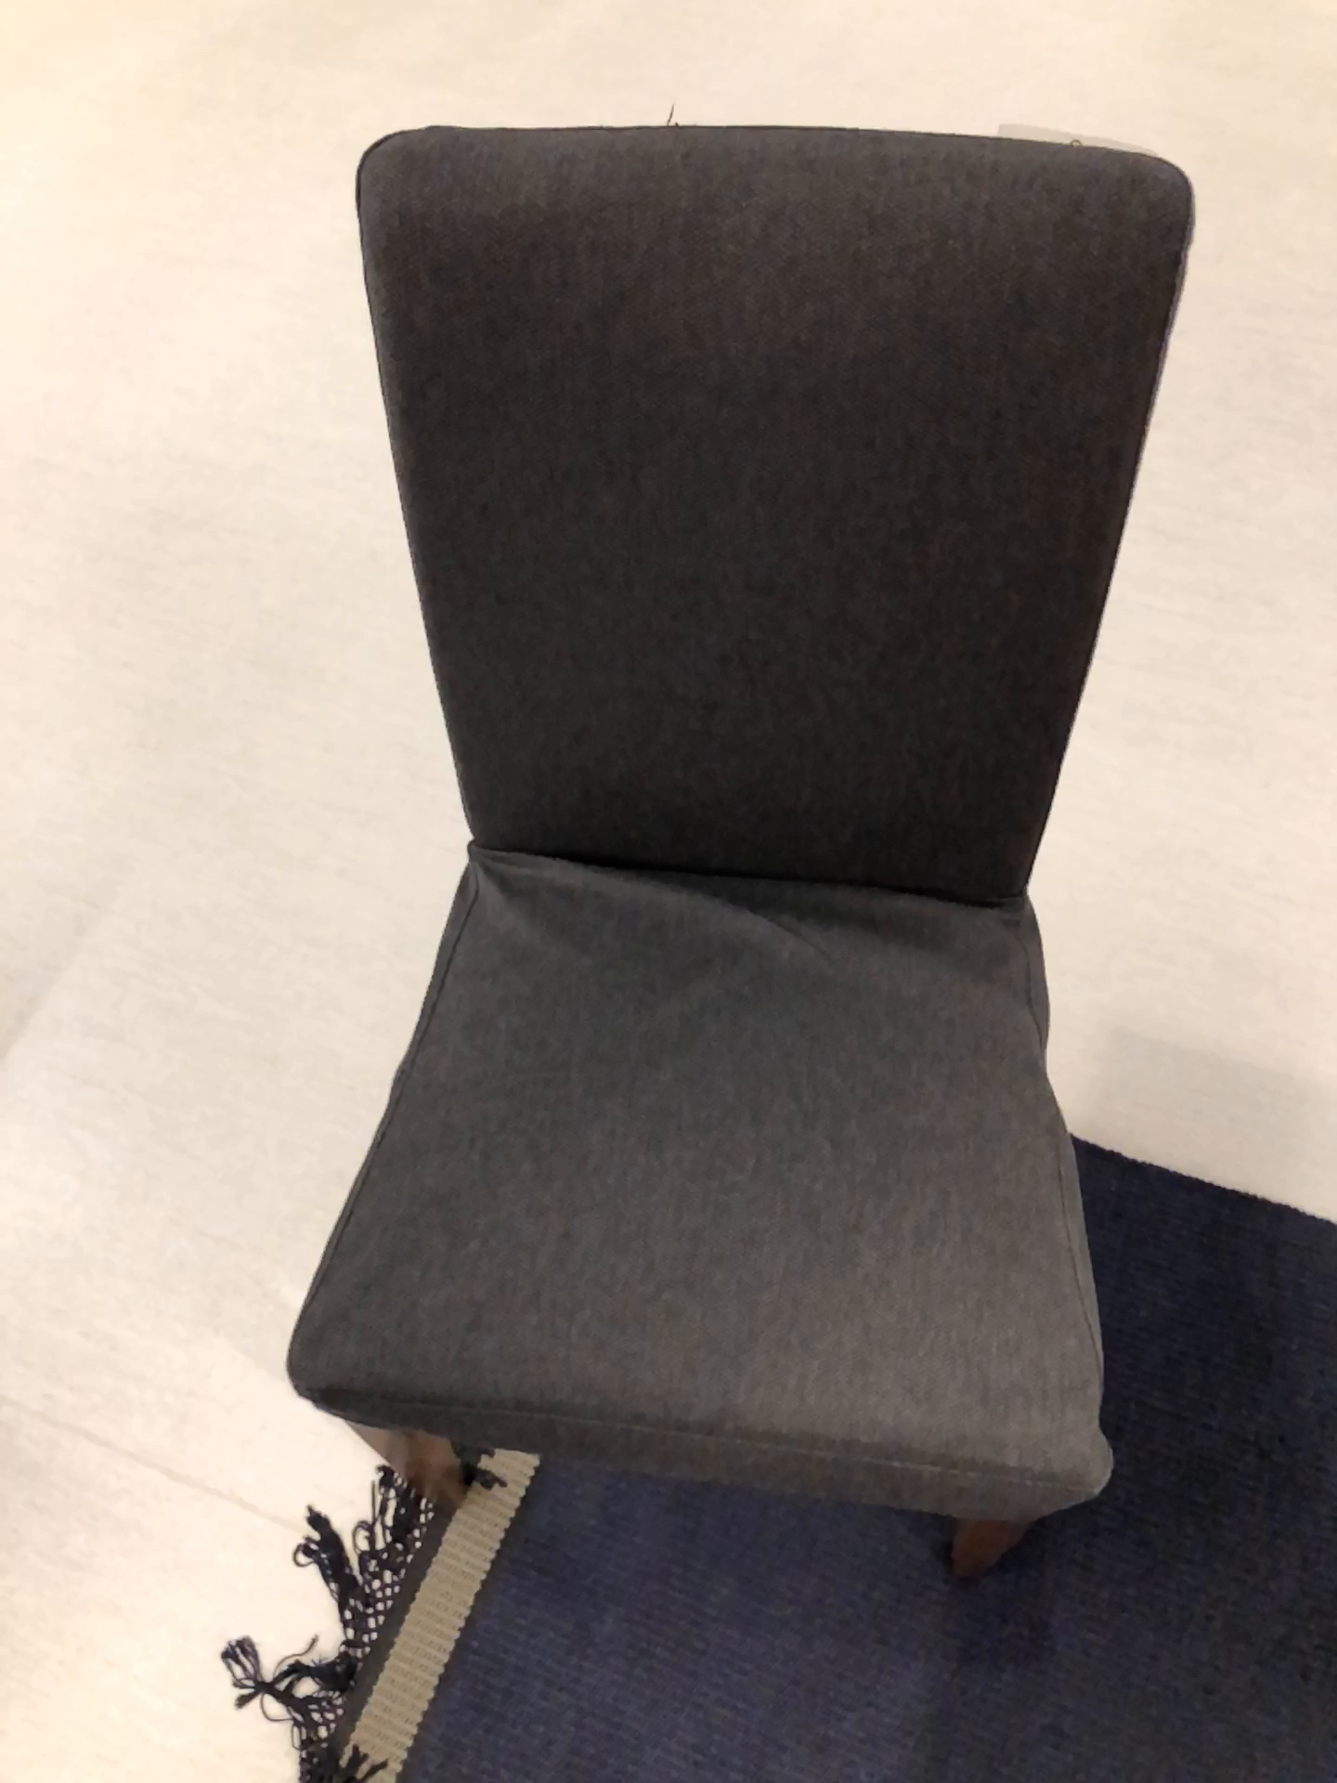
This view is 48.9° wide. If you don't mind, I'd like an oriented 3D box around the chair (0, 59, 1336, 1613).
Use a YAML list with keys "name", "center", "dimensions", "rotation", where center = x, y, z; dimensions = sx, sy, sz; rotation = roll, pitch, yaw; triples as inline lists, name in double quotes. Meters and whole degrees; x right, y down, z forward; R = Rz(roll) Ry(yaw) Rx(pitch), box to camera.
- name: "chair"
  center: [0.036, 0.086, 0.994]
  dimensions: [0.540, 0.965, 0.553]
  rotation: [6, 58, 7]
